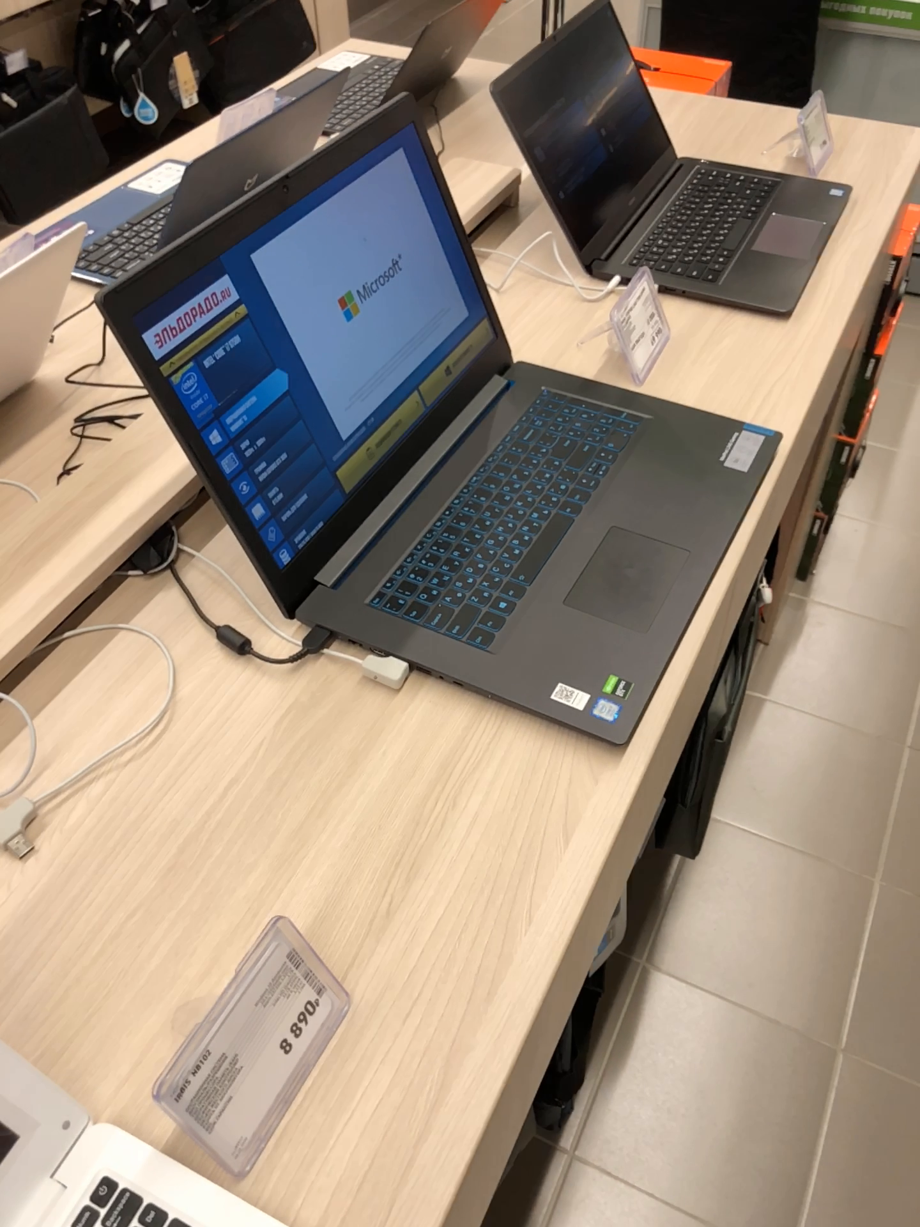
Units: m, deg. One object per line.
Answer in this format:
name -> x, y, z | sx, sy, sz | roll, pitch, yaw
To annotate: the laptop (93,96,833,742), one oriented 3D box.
laptop -> 0.026, -0.185, 0.798 | 0.380, 0.242, 0.397 | 20, 49, 19
